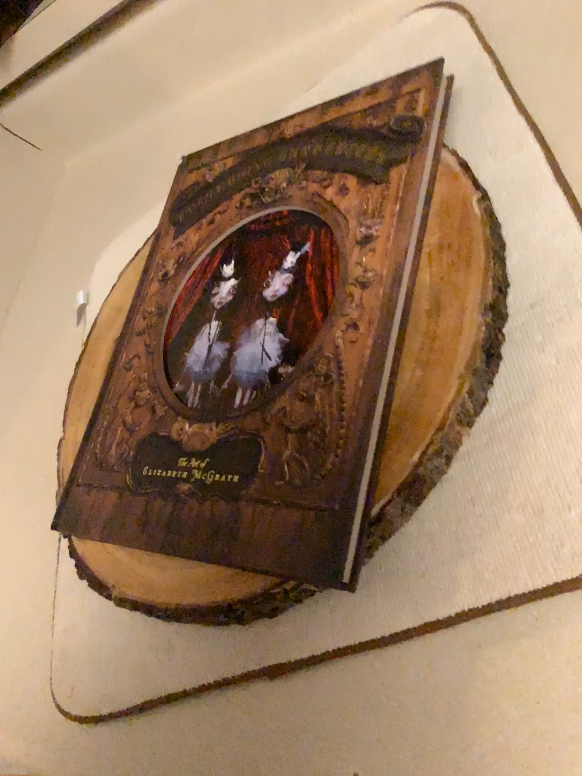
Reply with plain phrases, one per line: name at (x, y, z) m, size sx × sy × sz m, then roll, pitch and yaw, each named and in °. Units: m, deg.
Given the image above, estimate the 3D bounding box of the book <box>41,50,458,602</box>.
book at (-0.030, -0.047, 0.405) m, size 0.230 × 0.020 × 0.310 m, roll -3°, pitch 64°, yaw 39°
